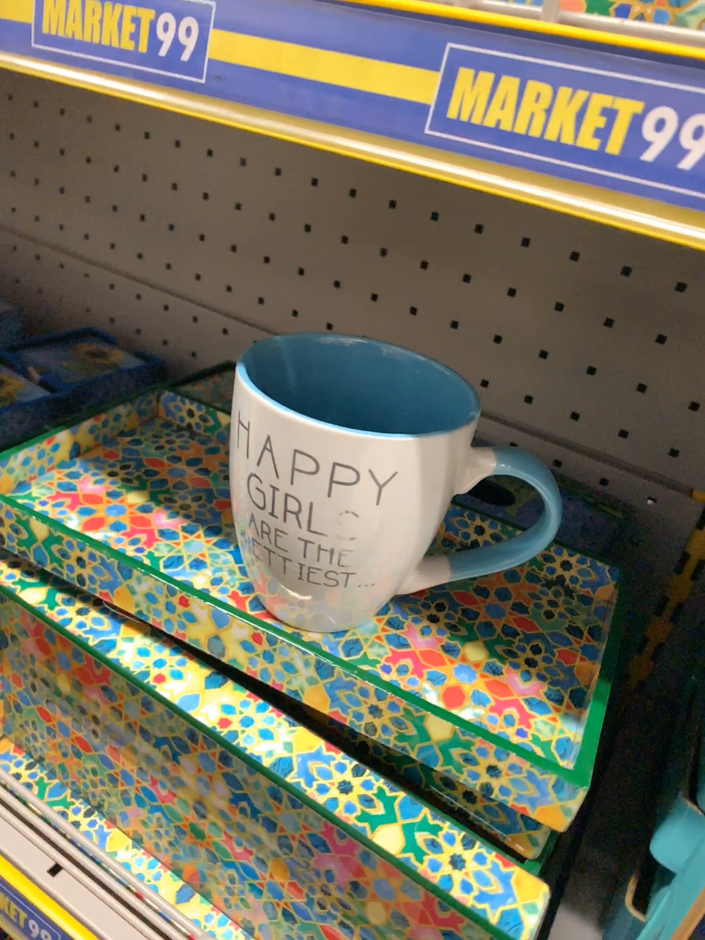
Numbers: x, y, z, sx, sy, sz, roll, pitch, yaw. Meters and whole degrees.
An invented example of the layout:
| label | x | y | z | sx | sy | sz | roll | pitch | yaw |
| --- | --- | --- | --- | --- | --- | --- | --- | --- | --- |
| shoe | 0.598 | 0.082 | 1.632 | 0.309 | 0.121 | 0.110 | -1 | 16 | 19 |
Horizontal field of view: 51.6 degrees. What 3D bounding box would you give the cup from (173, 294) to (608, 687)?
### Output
| label | x | y | z | sx | sy | sz | roll | pitch | yaw |
| --- | --- | --- | --- | --- | --- | --- | --- | --- | --- |
| cup | 0.017 | -0.001 | 0.329 | 0.150 | 0.100 | 0.120 | 14 | 28 | 5 |
